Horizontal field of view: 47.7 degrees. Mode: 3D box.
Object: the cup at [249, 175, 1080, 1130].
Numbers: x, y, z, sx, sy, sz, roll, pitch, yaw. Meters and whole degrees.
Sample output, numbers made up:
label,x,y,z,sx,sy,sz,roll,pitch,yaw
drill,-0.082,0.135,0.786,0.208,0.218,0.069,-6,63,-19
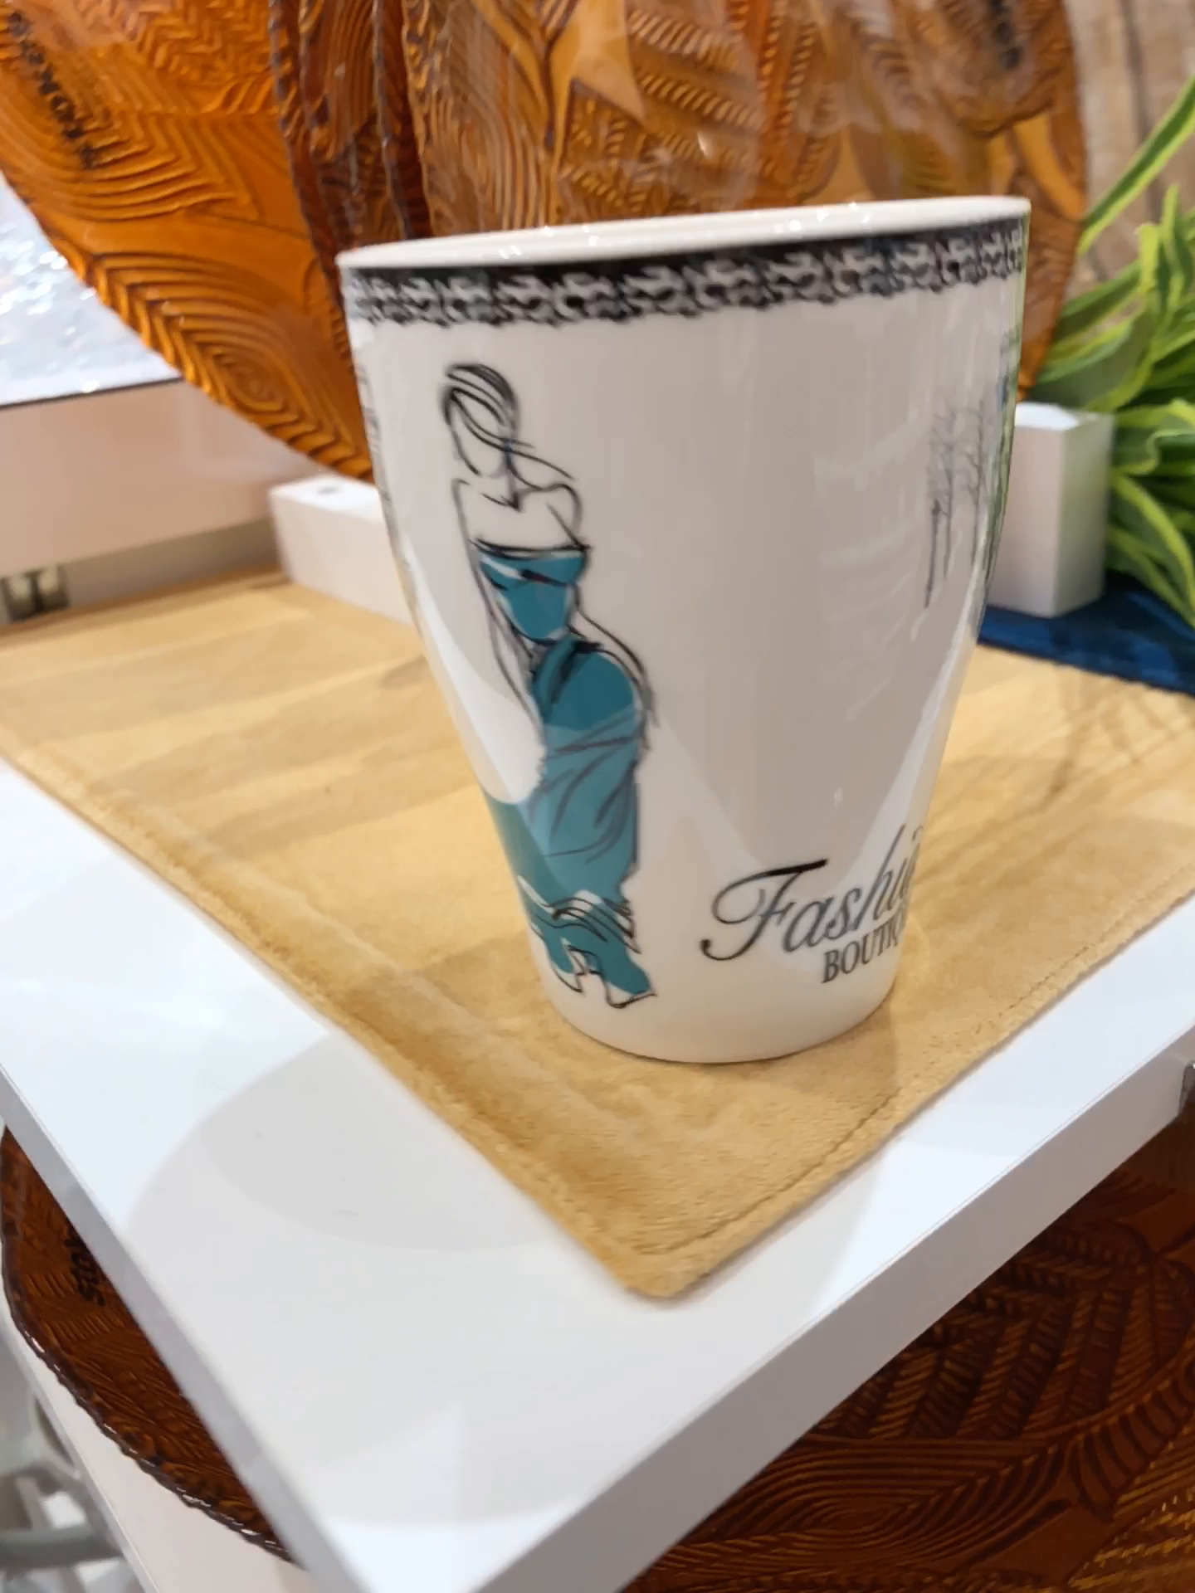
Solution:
label,x,y,z,sx,sy,sz,roll,pitch,yaw
cup,0.021,-0.031,0.195,0.080,0.100,0.110,2,25,16
